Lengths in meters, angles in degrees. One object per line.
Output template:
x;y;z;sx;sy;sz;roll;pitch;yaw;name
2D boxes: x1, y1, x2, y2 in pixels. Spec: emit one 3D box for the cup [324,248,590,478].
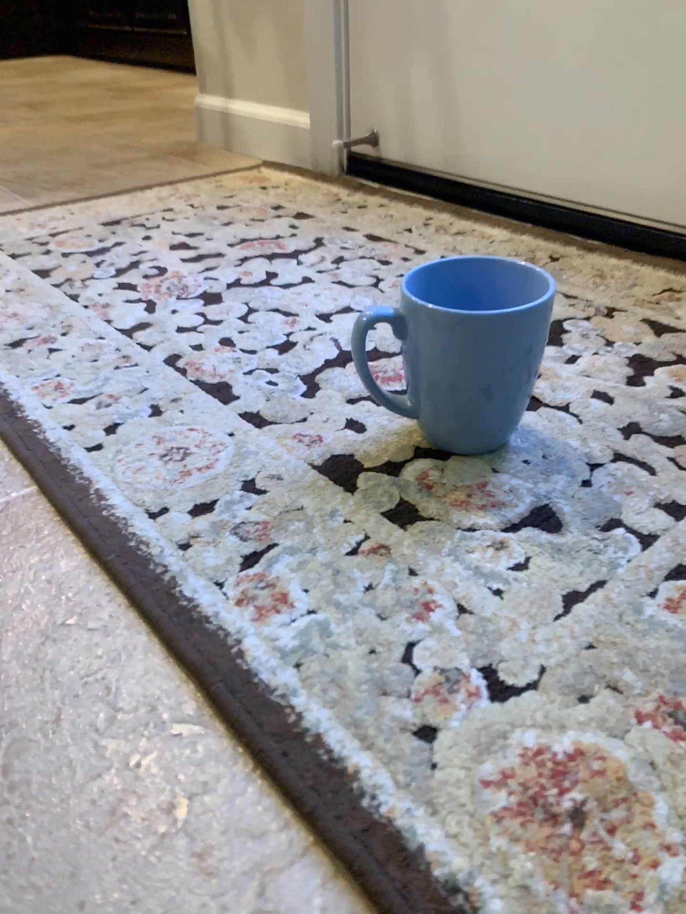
0.060;-0.060;0.413;0.120;0.089;0.091;-10;34;-12;cup
